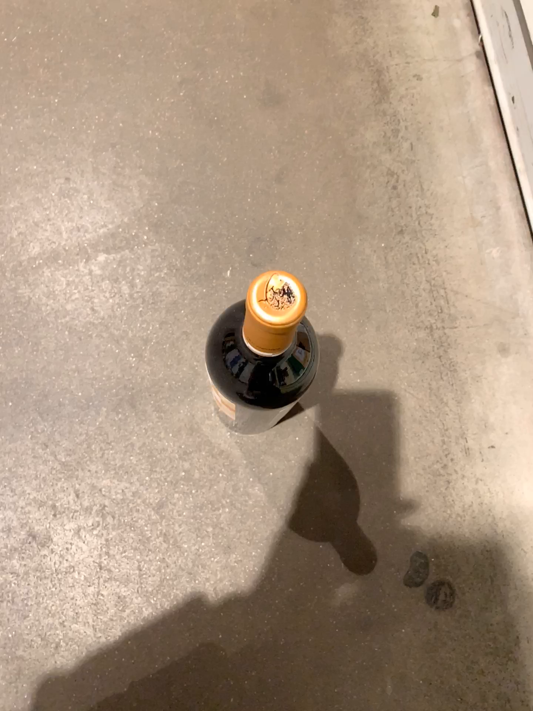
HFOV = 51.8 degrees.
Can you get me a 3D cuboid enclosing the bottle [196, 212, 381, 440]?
[{"bbox_3d":[-0.001,0.006,0.425,0.080,0.318,0.080,1,76,-4],"label":"bottle"}]
